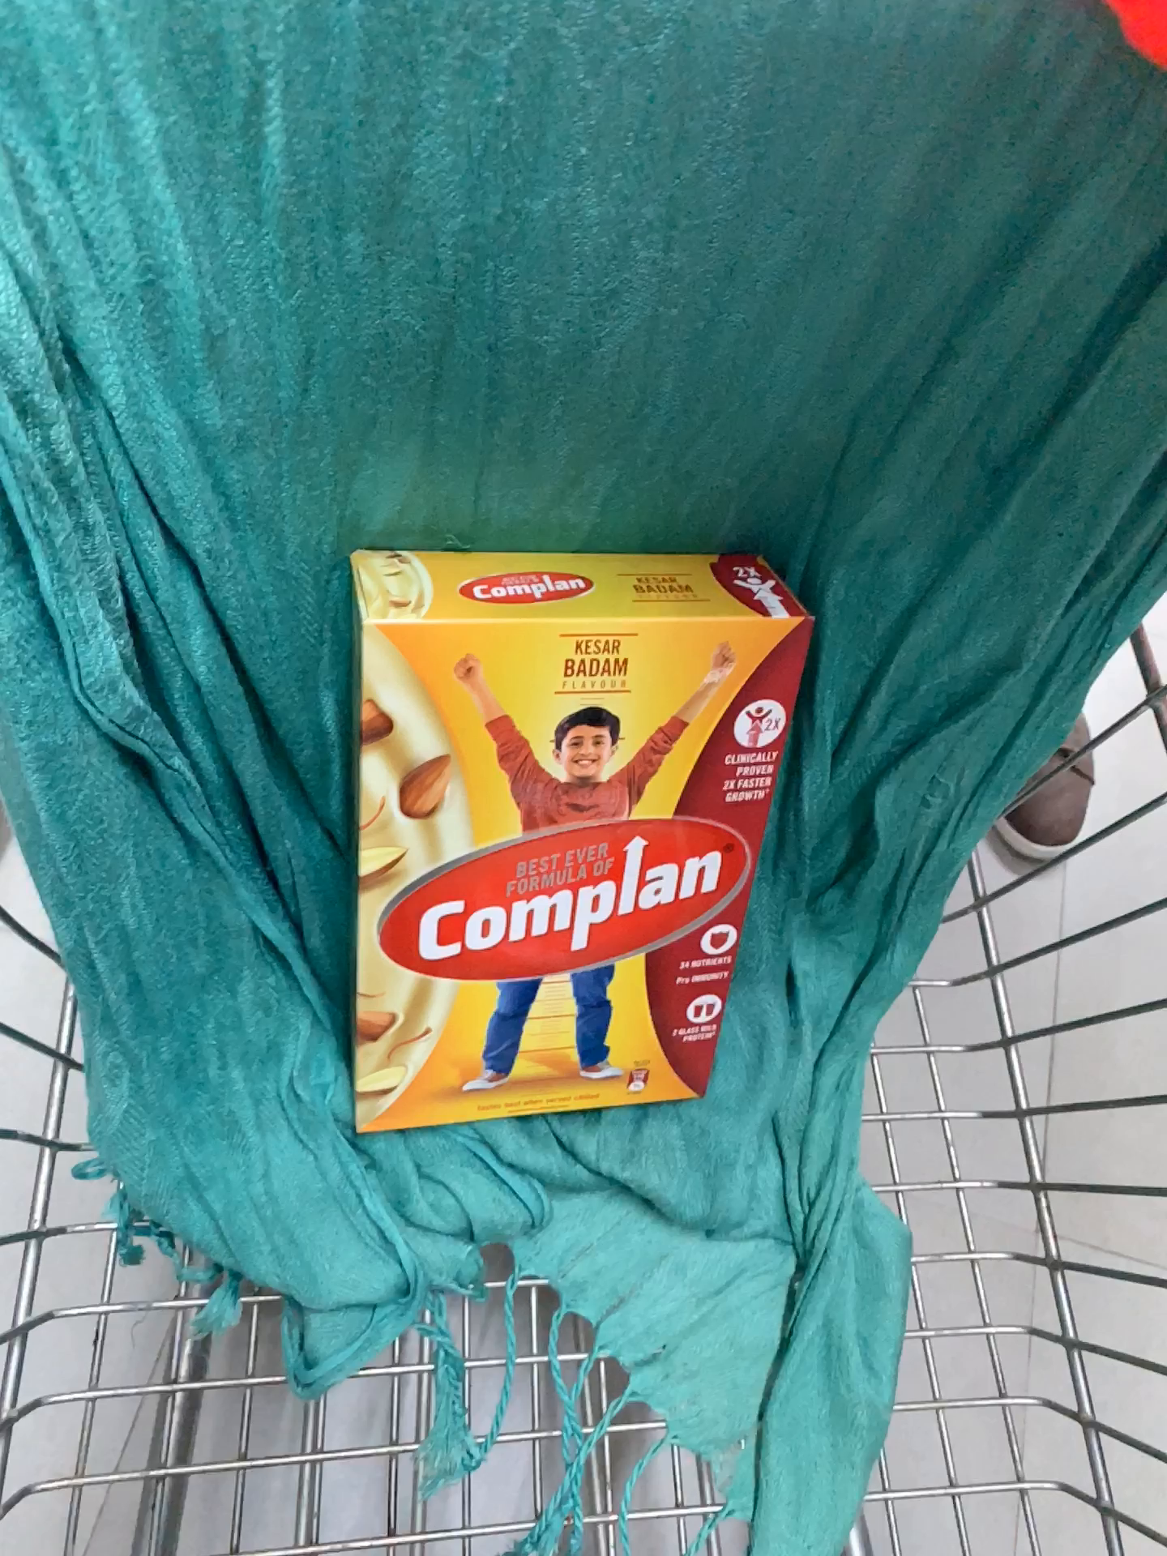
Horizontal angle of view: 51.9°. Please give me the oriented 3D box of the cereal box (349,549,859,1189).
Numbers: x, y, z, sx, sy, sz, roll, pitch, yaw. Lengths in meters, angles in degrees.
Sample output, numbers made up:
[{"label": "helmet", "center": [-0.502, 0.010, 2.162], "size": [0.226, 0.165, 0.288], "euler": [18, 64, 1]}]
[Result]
[{"label": "cereal box", "center": [-0.003, 0.031, 0.395], "size": [0.140, 0.200, 0.060], "euler": [-2, 27, -12]}]
